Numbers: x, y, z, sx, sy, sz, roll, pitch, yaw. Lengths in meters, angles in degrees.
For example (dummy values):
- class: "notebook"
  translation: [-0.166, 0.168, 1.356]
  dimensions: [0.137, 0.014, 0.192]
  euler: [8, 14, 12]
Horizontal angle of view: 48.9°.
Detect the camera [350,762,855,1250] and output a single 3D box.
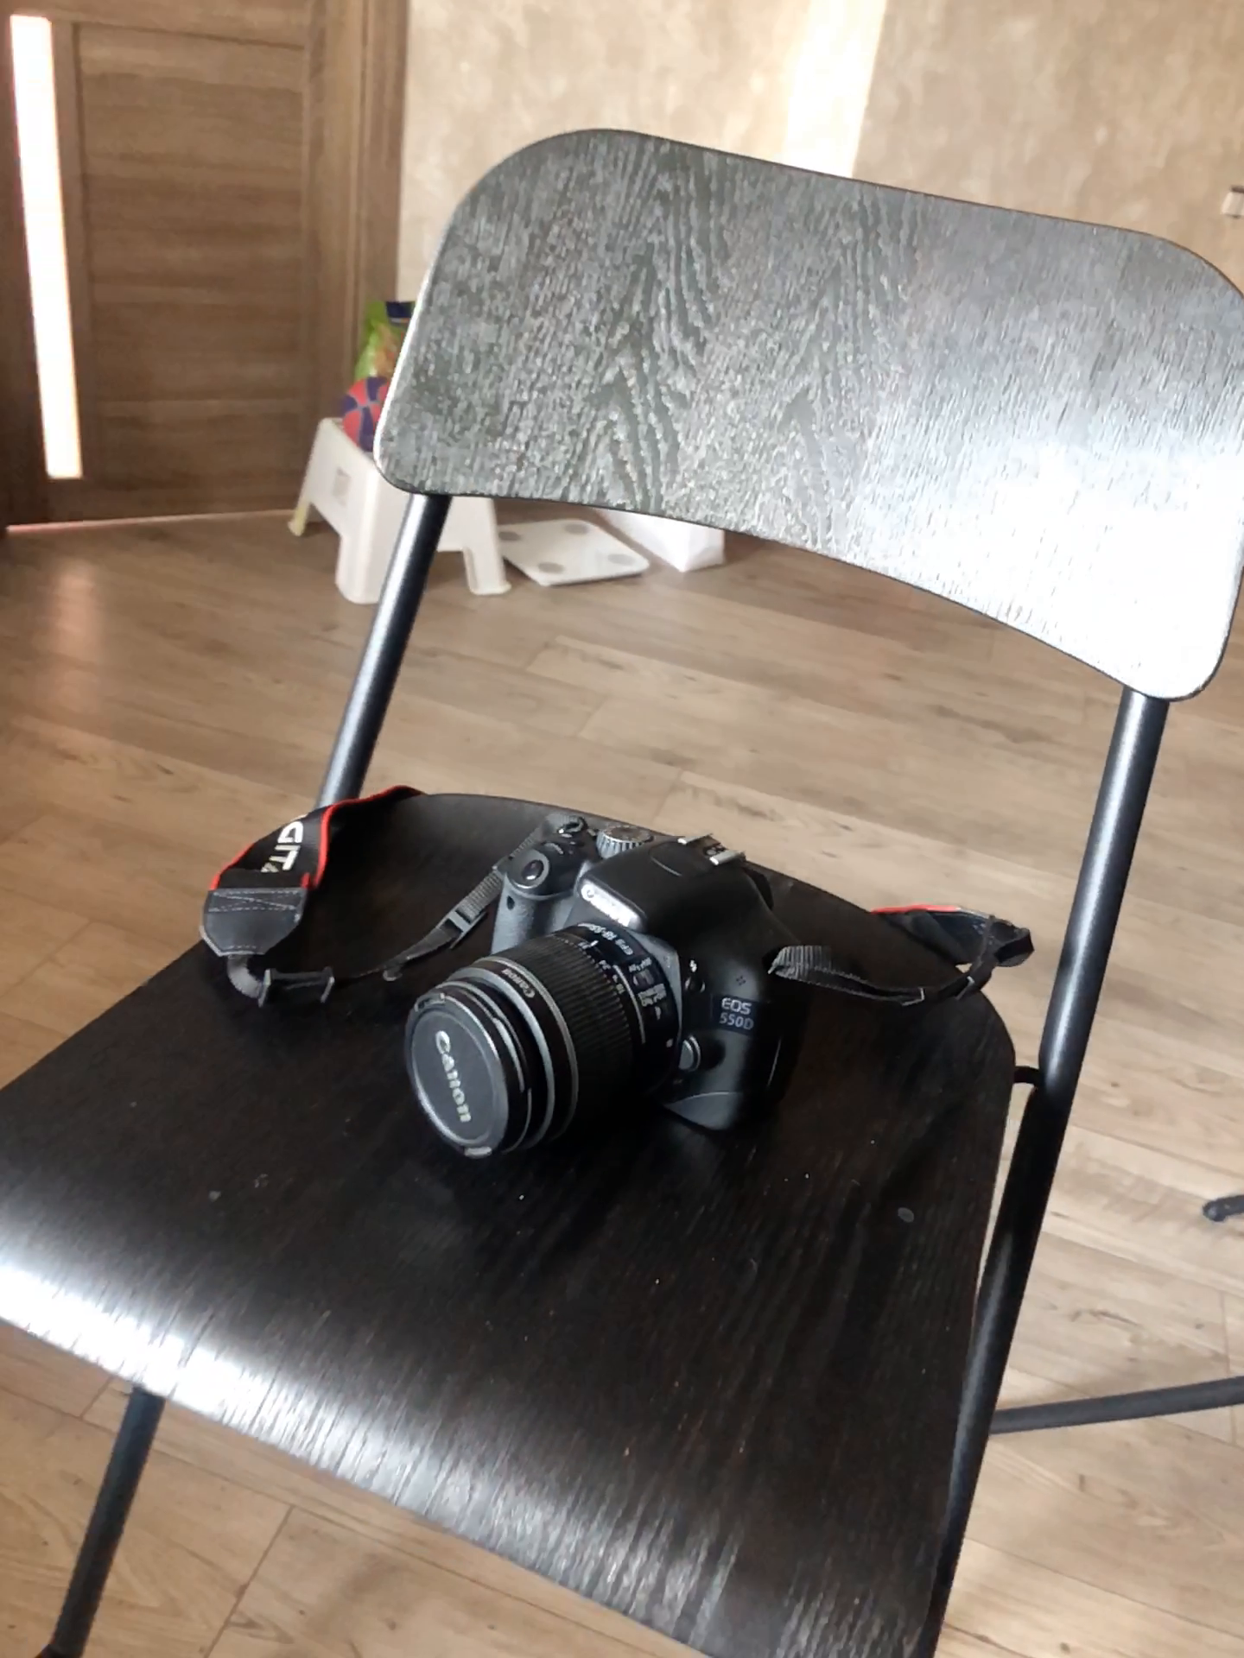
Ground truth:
- class: "camera"
  translation: [-0.010, 0.058, 0.527]
  dimensions: [0.141, 0.092, 0.120]
  euler: [-22, 43, -41]
